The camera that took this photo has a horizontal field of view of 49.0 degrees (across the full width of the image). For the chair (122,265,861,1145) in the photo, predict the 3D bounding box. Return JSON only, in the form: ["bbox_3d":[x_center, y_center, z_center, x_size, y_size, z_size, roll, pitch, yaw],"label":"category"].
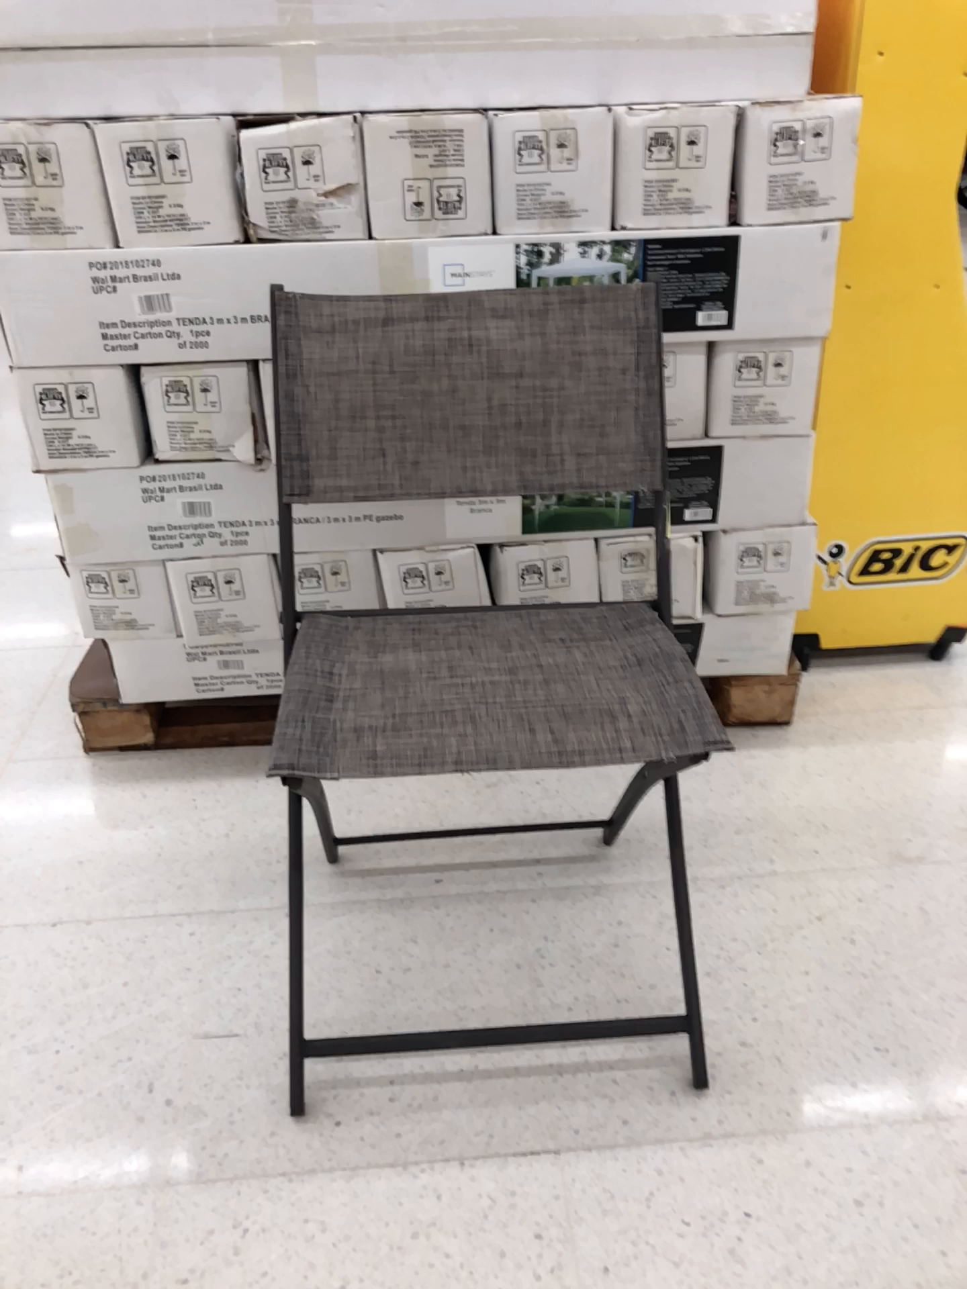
[{"bbox_3d":[0.002,0.039,1.127,0.510,0.755,0.503,-3,28,-3],"label":"chair"}]
